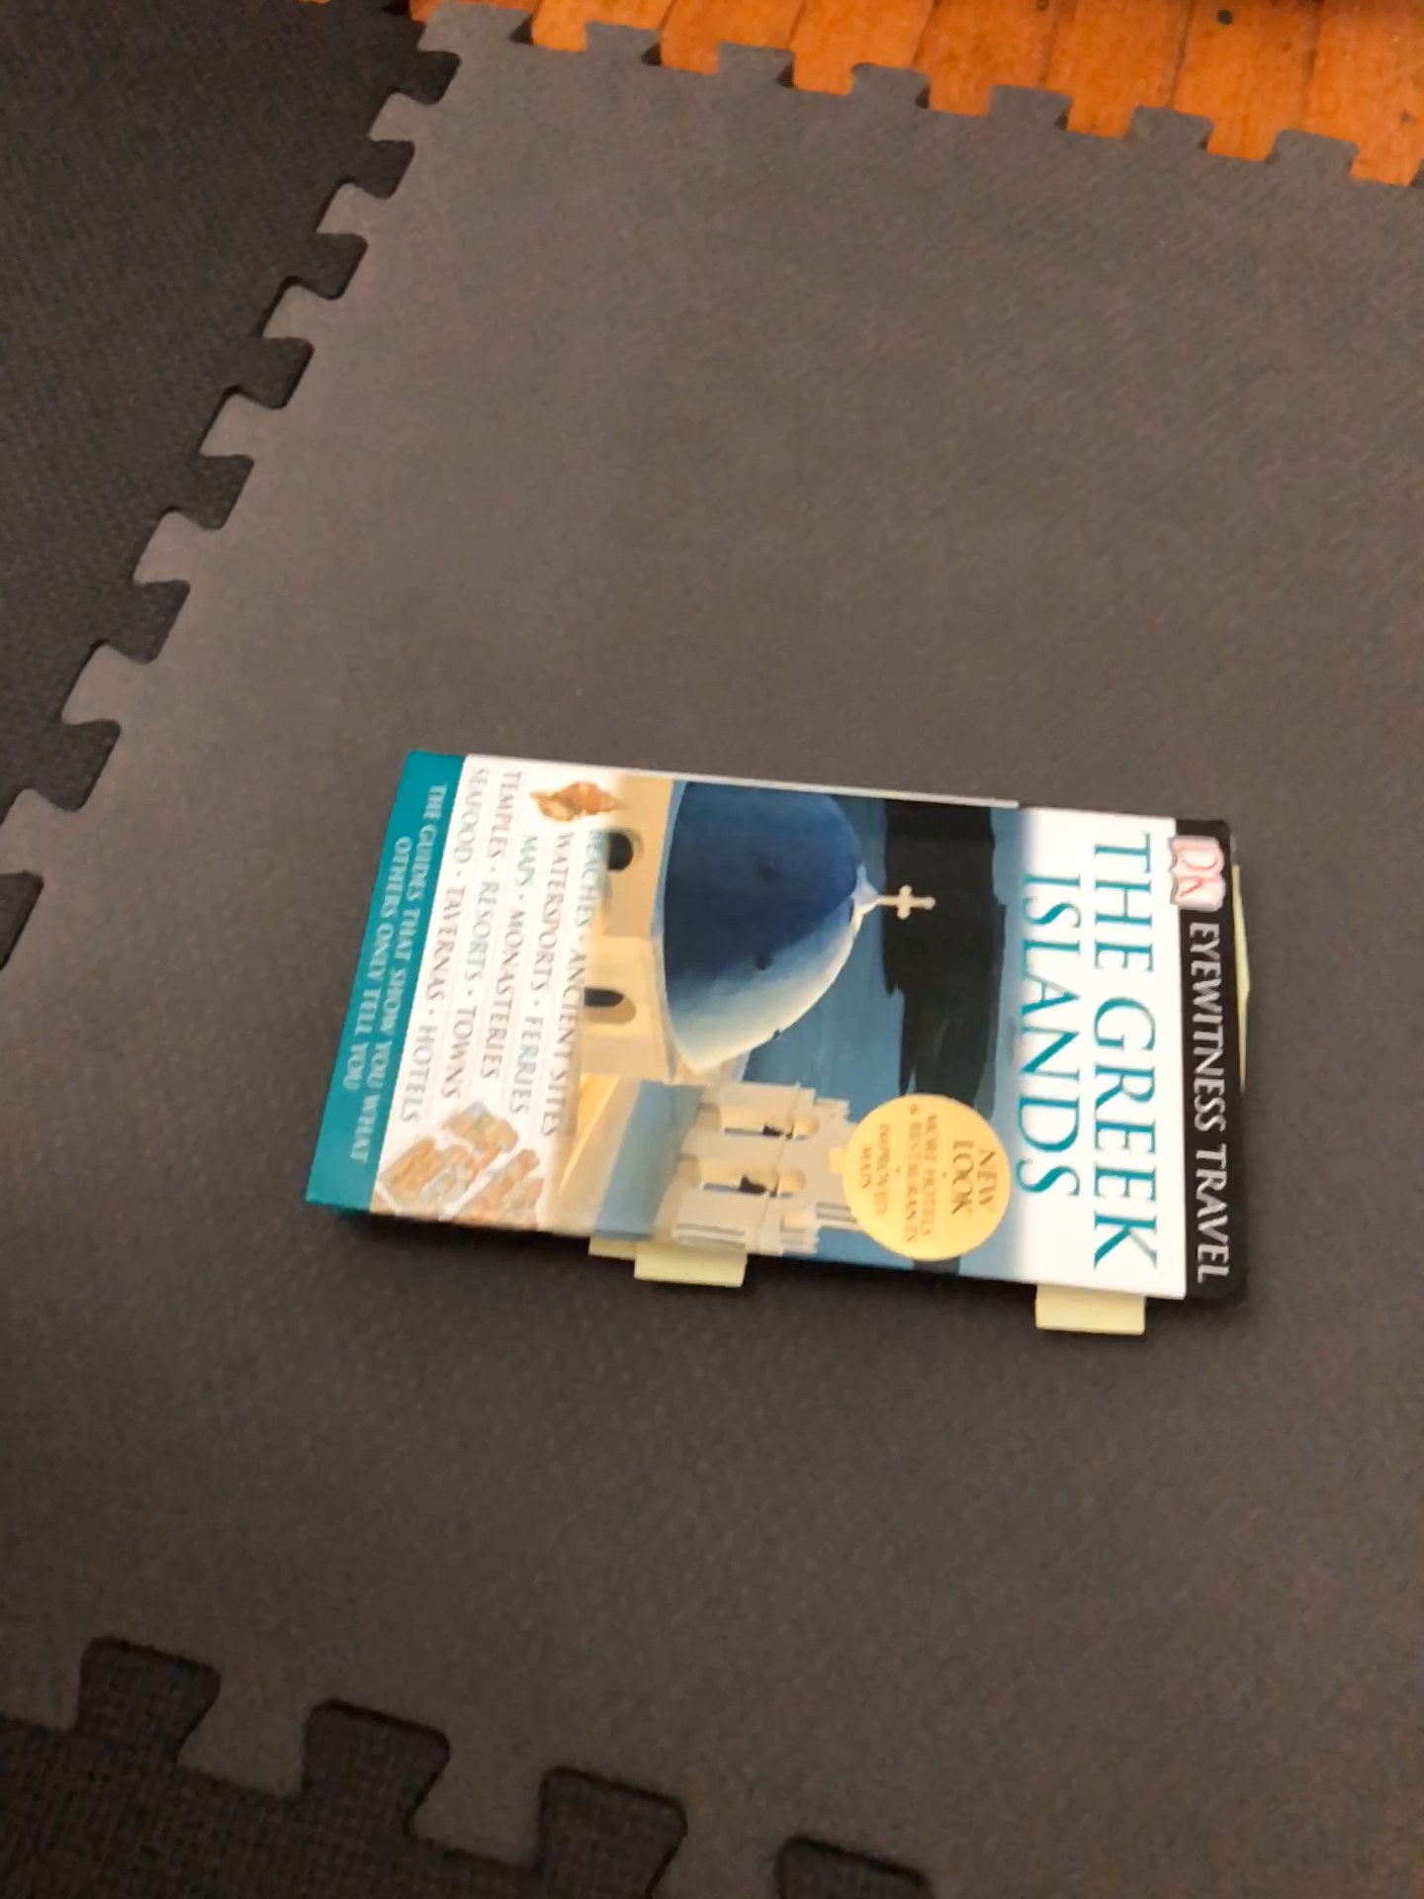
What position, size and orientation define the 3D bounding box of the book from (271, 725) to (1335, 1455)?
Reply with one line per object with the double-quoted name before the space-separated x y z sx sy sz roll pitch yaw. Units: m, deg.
"book" 0.028 0.029 0.404 0.240 0.030 0.161 6 63 3
